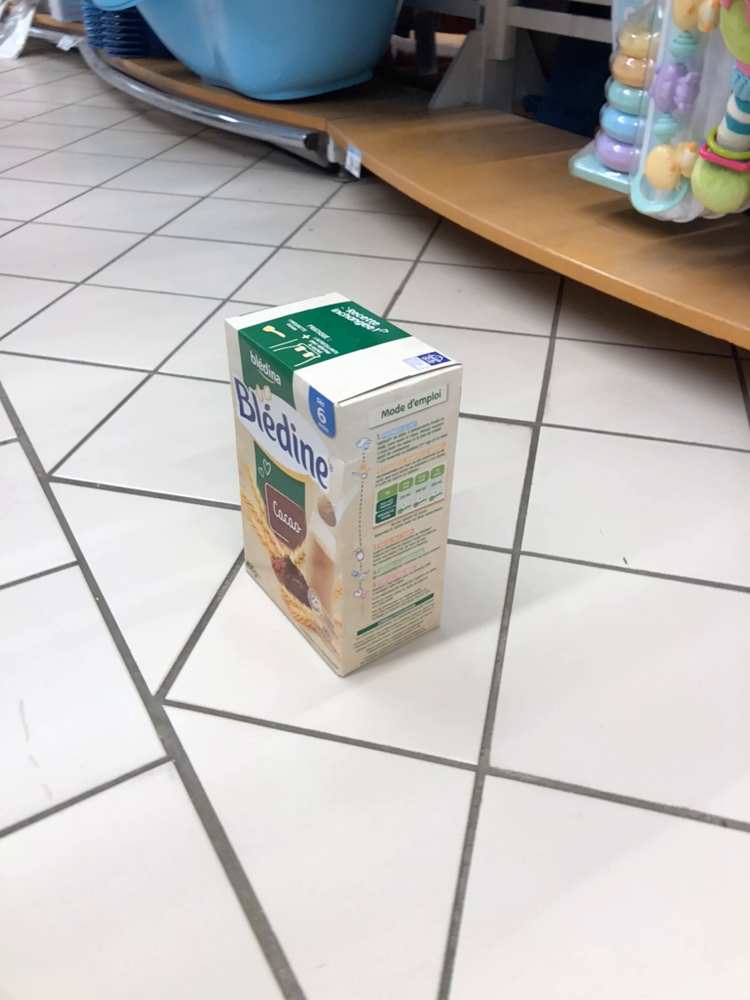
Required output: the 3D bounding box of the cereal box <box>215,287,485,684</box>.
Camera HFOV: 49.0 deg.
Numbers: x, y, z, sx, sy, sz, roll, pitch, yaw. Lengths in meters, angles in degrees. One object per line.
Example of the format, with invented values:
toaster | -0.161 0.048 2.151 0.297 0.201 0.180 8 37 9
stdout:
cereal box | -0.020 -0.012 0.520 0.090 0.189 0.140 -21 41 -29
